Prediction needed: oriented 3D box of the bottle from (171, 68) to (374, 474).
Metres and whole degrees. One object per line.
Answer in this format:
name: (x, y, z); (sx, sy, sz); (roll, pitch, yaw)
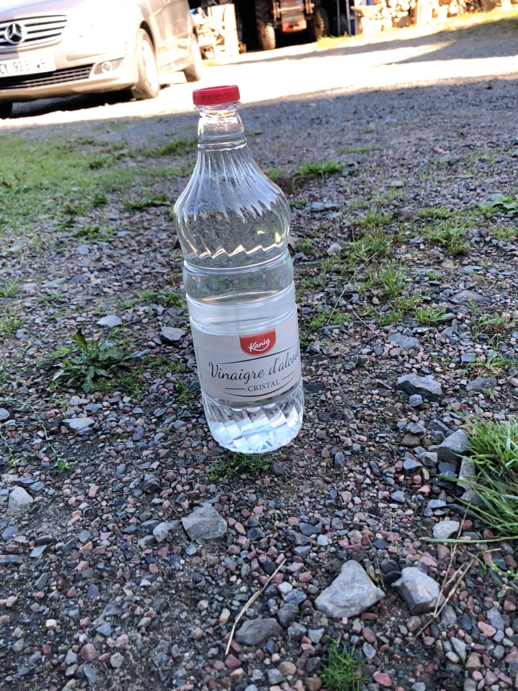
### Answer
bottle: (0.013, -0.050, 0.399); (0.100, 0.249, 0.100); (-5, 26, 3)
